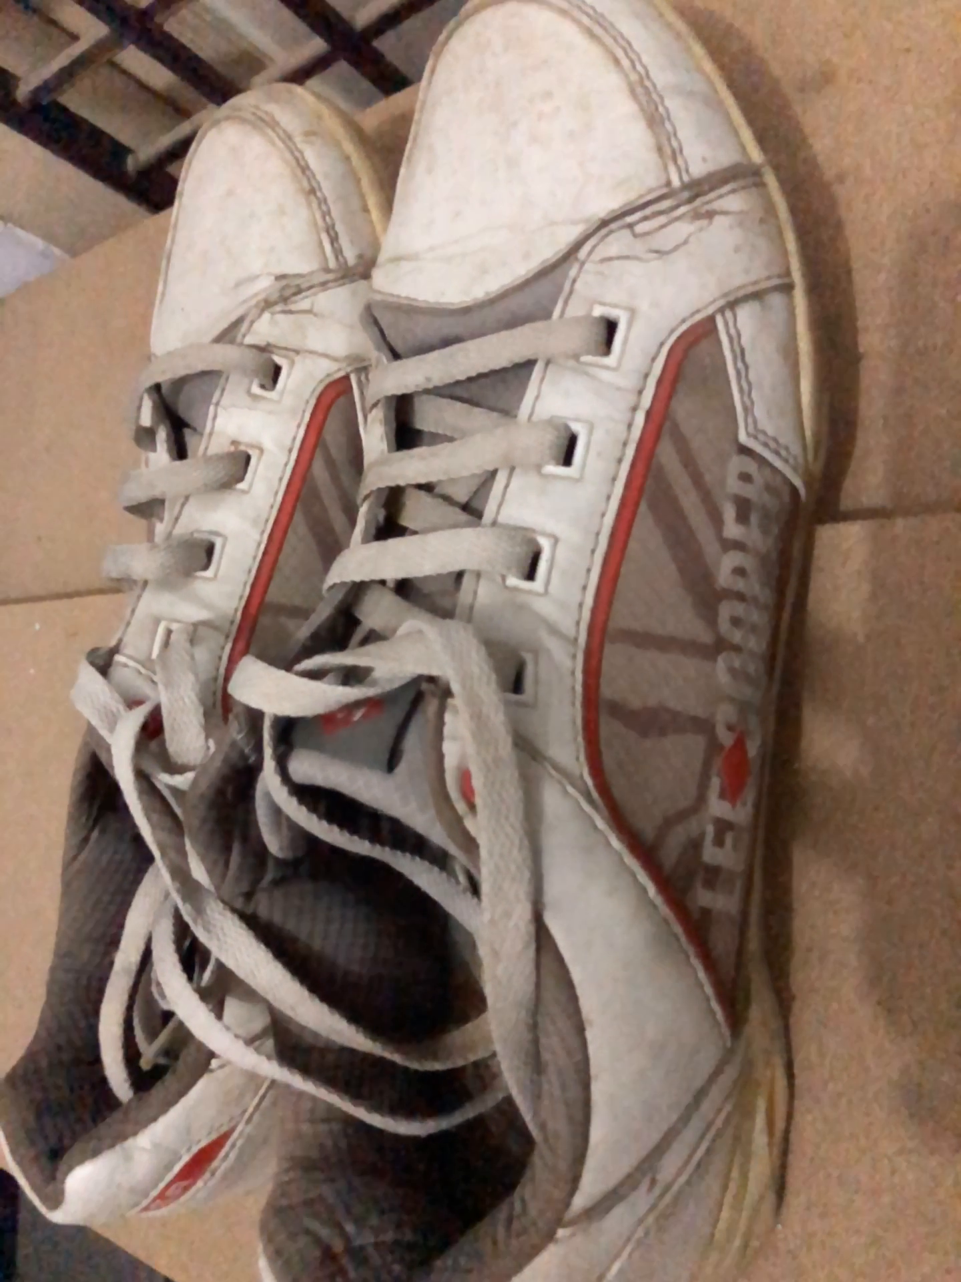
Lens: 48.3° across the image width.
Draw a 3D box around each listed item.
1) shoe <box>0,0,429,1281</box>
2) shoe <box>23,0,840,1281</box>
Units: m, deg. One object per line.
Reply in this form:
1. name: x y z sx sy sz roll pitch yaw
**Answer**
1. shoe: -0.088 -0.018 0.260 0.100 0.080 0.270 -2 79 35
2. shoe: 0.001 -0.014 0.198 0.100 0.080 0.270 -2 79 35
